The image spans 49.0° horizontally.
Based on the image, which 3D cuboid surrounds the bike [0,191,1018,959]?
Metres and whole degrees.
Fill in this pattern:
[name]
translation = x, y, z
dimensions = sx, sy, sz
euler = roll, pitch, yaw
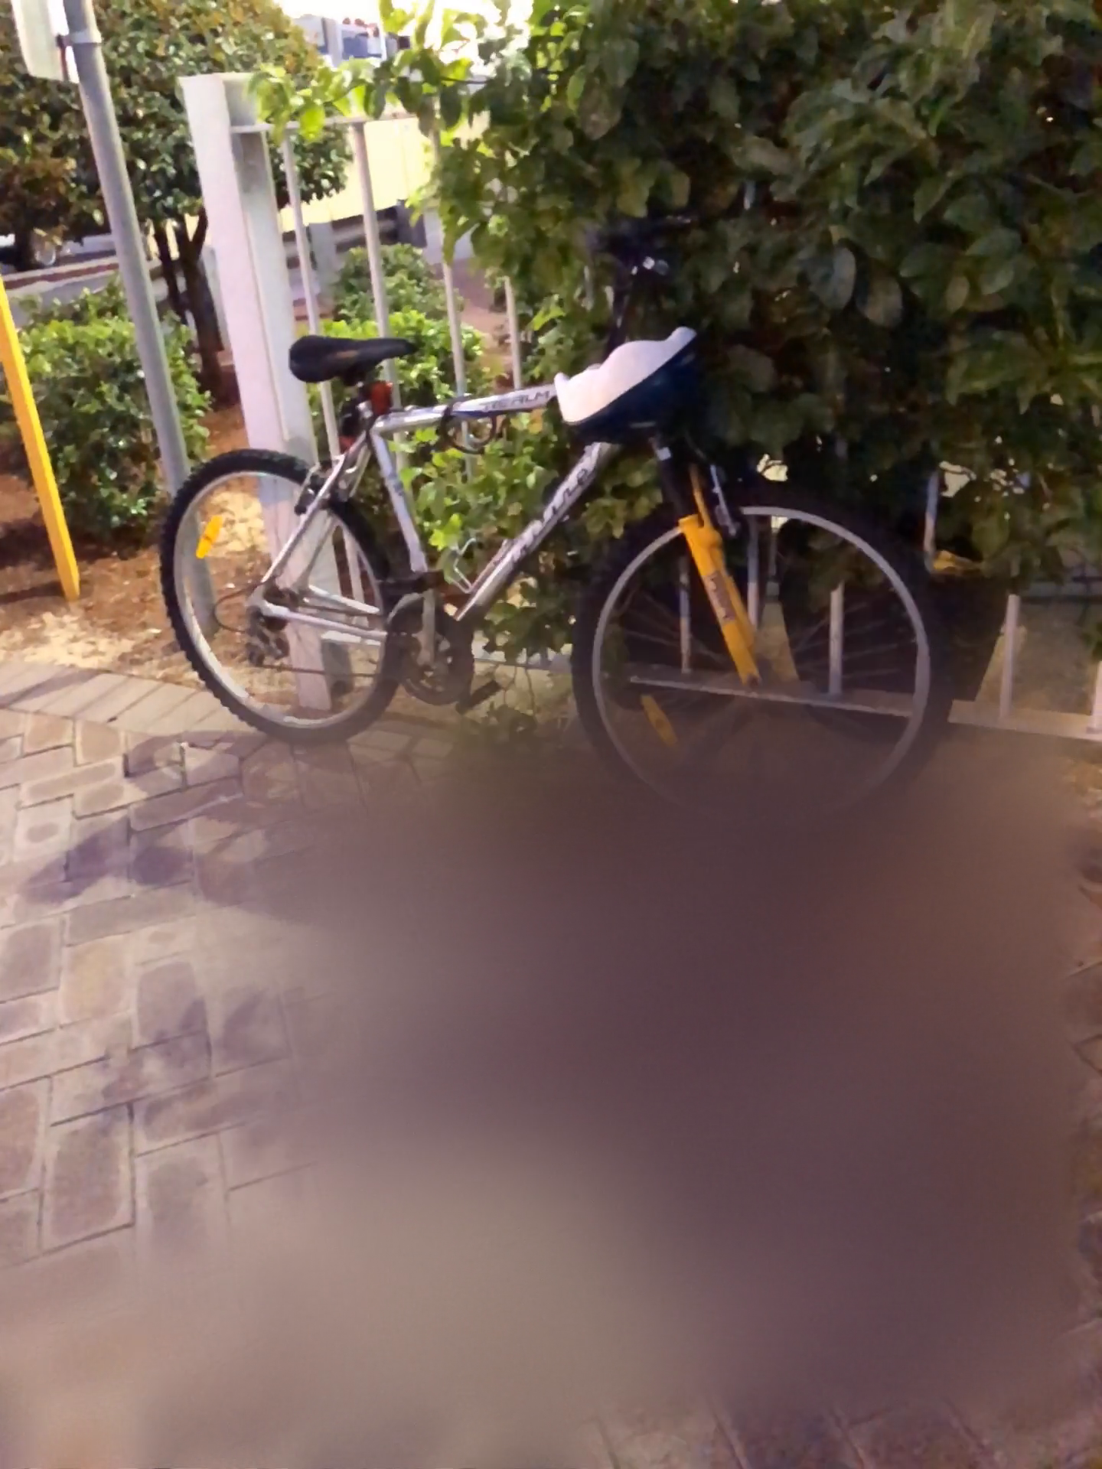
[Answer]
[bike]
translation = -0.135, -0.357, 2.162
dimensions = 1.694, 0.995, 0.554
euler = 9, 29, 27
